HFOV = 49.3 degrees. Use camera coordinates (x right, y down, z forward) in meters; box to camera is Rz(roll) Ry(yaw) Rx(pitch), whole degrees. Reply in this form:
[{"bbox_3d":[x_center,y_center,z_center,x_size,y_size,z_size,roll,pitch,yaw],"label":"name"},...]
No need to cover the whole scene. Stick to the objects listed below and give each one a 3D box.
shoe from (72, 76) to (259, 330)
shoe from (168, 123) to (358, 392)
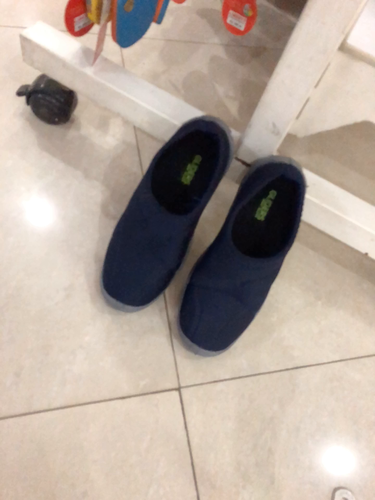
[{"bbox_3d":[-0.041,-0.088,0.867,0.160,0.200,0.460,27,85,0],"label":"shoe"},{"bbox_3d":[0.152,0.016,0.890,0.186,0.207,0.489,25,83,4],"label":"shoe"}]
